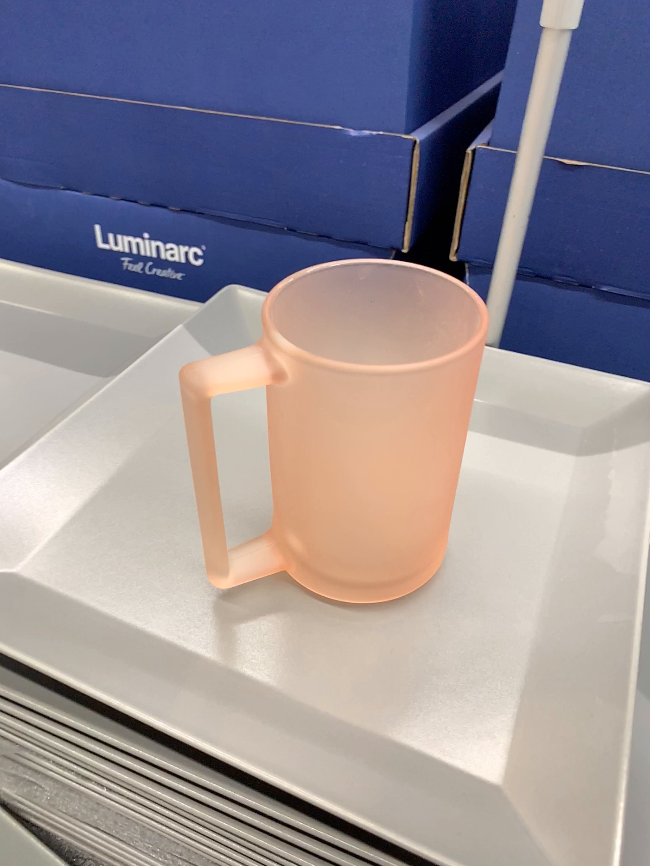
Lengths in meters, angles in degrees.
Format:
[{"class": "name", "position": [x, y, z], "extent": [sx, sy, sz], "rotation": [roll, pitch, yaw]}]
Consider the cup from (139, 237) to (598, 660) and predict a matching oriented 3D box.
[{"class": "cup", "position": [0.007, -0.003, 0.245], "extent": [0.120, 0.095, 0.095], "rotation": [-12, 39, -19]}]
